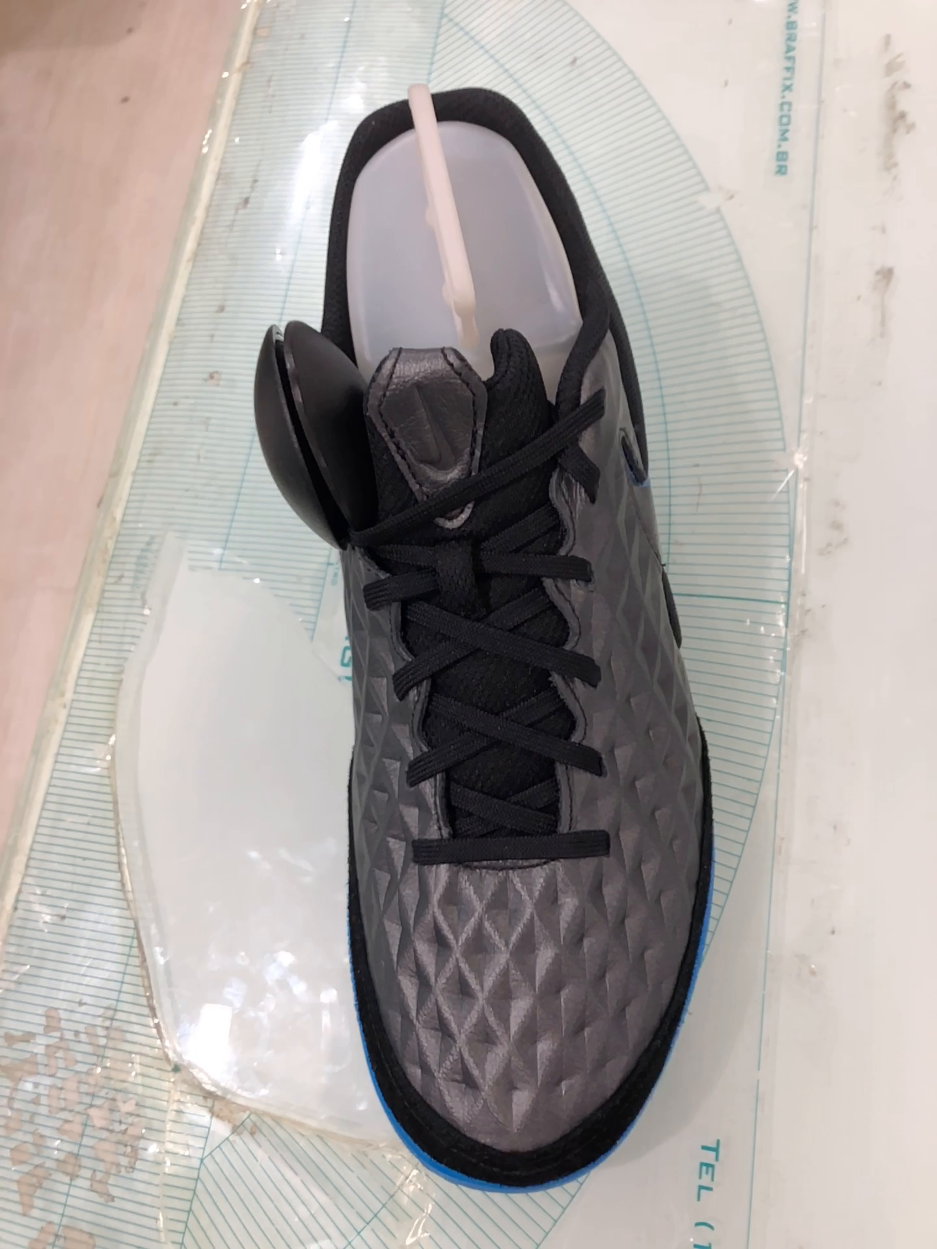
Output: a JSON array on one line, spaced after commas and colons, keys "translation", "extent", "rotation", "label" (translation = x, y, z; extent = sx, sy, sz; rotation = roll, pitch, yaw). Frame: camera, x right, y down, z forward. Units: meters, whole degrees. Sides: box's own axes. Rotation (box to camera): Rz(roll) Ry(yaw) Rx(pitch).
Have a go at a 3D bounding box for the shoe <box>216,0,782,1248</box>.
[{"translation": [0.010, -0.010, 0.278], "extent": [0.100, 0.100, 0.291], "rotation": [-4, 70, 9], "label": "shoe"}]
